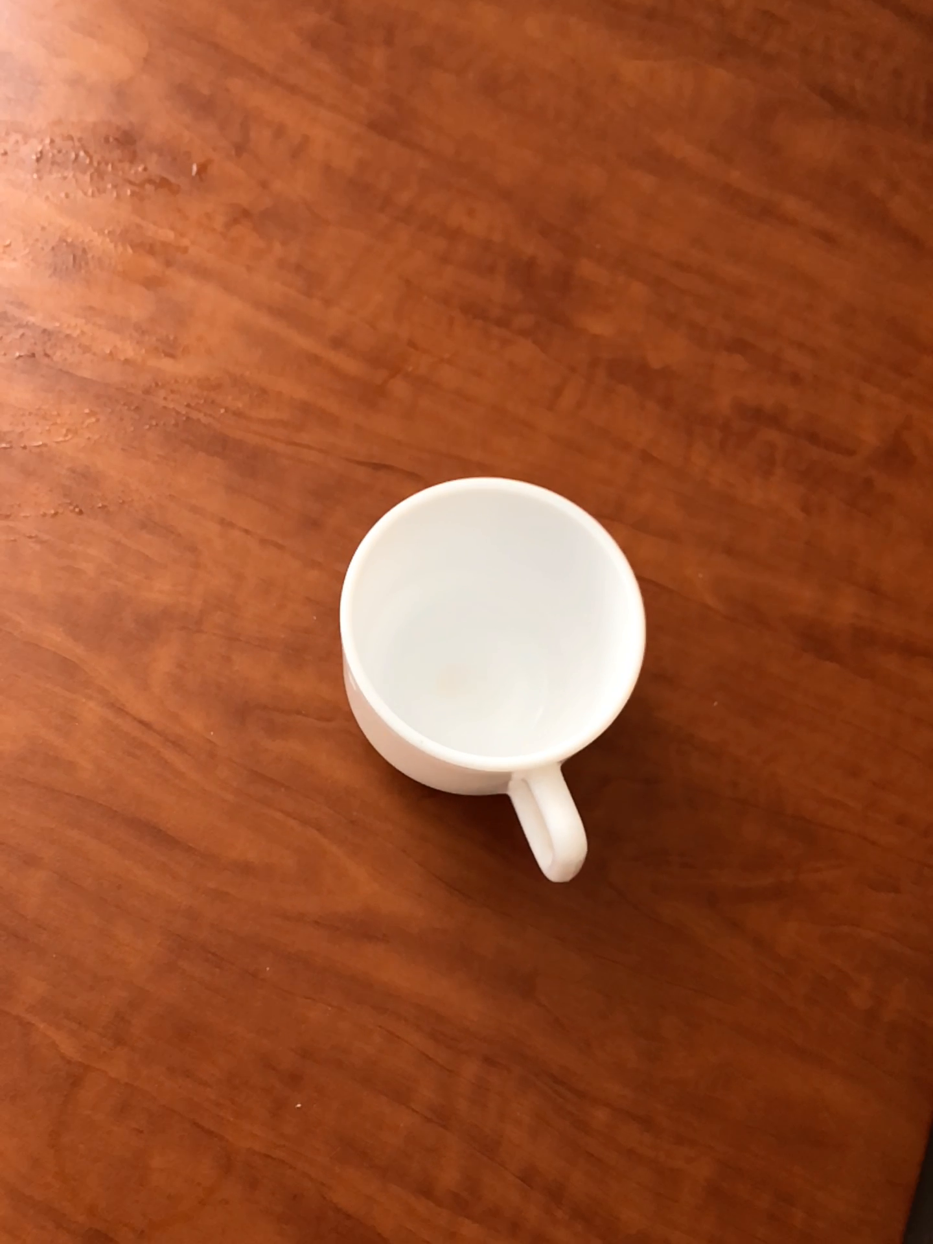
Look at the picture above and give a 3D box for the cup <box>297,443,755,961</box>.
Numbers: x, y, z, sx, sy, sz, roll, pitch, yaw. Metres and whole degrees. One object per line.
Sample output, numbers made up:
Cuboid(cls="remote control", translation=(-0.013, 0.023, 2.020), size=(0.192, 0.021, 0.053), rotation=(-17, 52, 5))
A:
Cuboid(cls="cup", translation=(0.011, 0.024, 0.303), size=(0.087, 0.061, 0.120), rotation=(-17, 74, -13))
